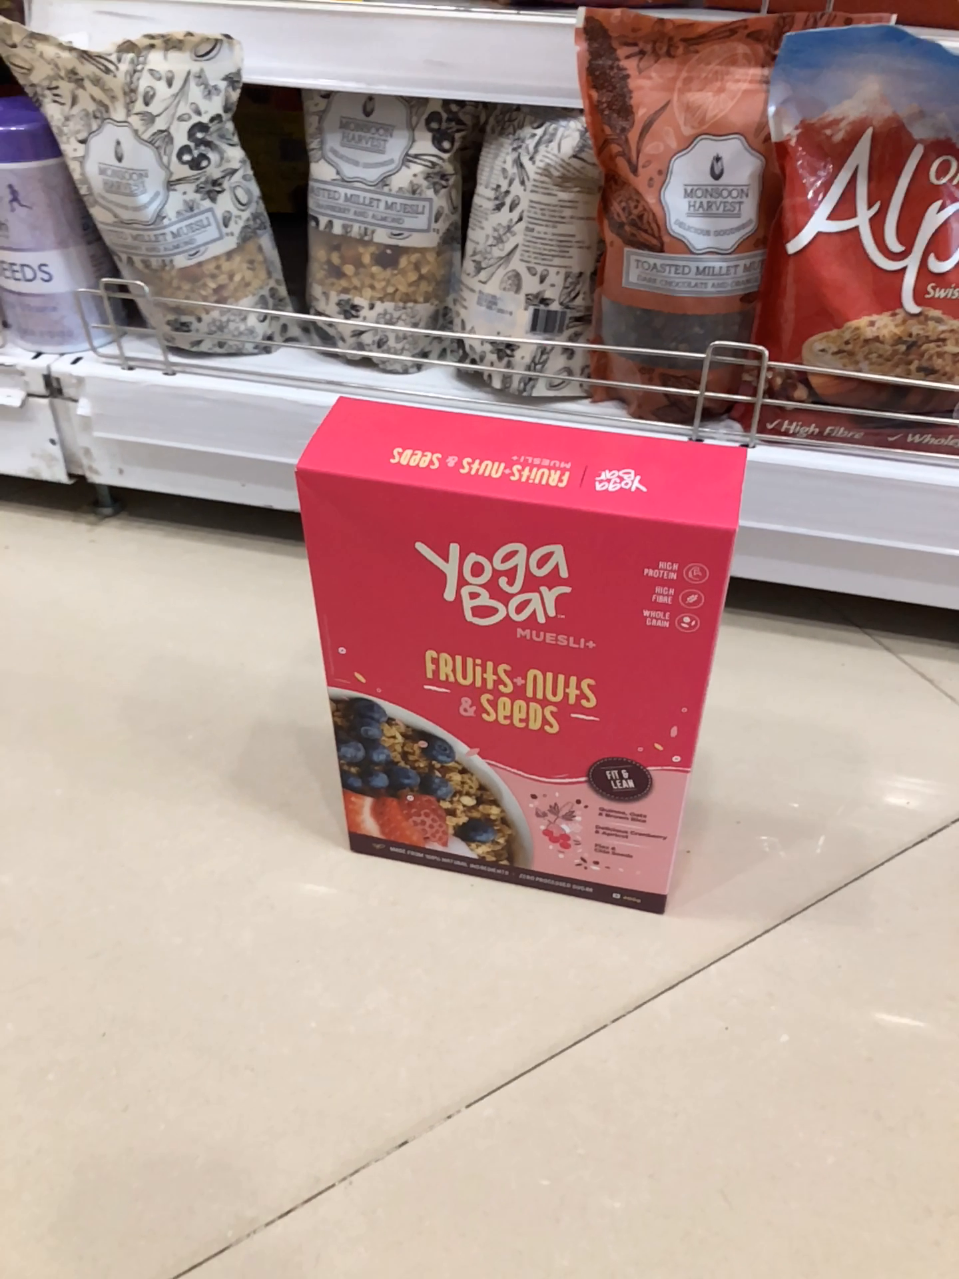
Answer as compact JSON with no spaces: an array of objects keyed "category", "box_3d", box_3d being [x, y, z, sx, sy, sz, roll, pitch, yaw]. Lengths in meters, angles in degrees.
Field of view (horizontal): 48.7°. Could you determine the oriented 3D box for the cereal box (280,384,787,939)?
[{"category":"cereal box","box_3d":[0.022,0.019,0.449,0.170,0.229,0.060,9,42,11]}]
